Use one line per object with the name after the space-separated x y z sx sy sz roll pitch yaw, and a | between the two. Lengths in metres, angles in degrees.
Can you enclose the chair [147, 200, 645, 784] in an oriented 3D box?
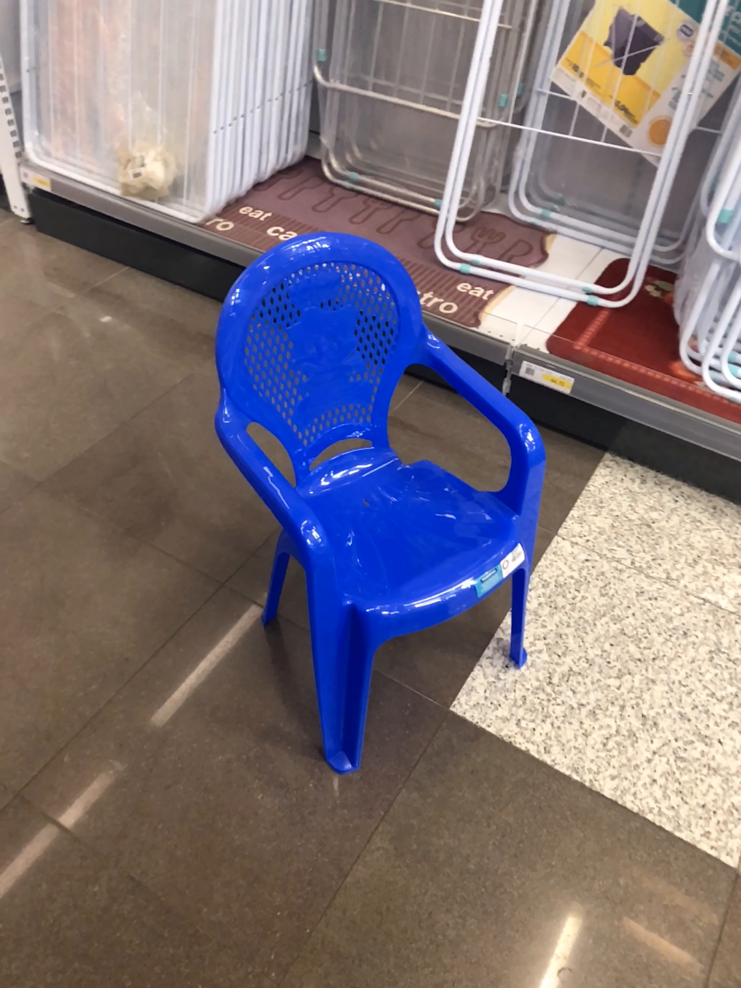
0.000 -0.008 1.013 0.351 0.506 0.402 -23 50 -25 | chair
